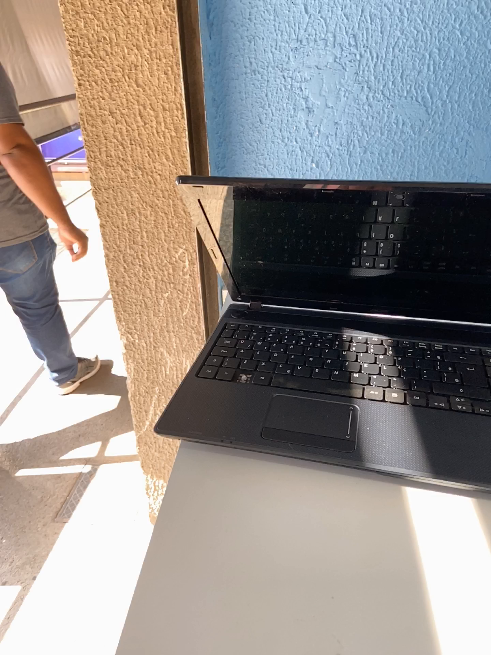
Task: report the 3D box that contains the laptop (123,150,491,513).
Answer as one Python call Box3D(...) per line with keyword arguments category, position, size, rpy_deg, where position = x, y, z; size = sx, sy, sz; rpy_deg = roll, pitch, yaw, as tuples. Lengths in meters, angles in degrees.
Box3D(category="laptop", position=(0.130, -0.034, 0.455), size=(0.376, 0.191, 0.249), rpy_deg=(5, 30, 14))
